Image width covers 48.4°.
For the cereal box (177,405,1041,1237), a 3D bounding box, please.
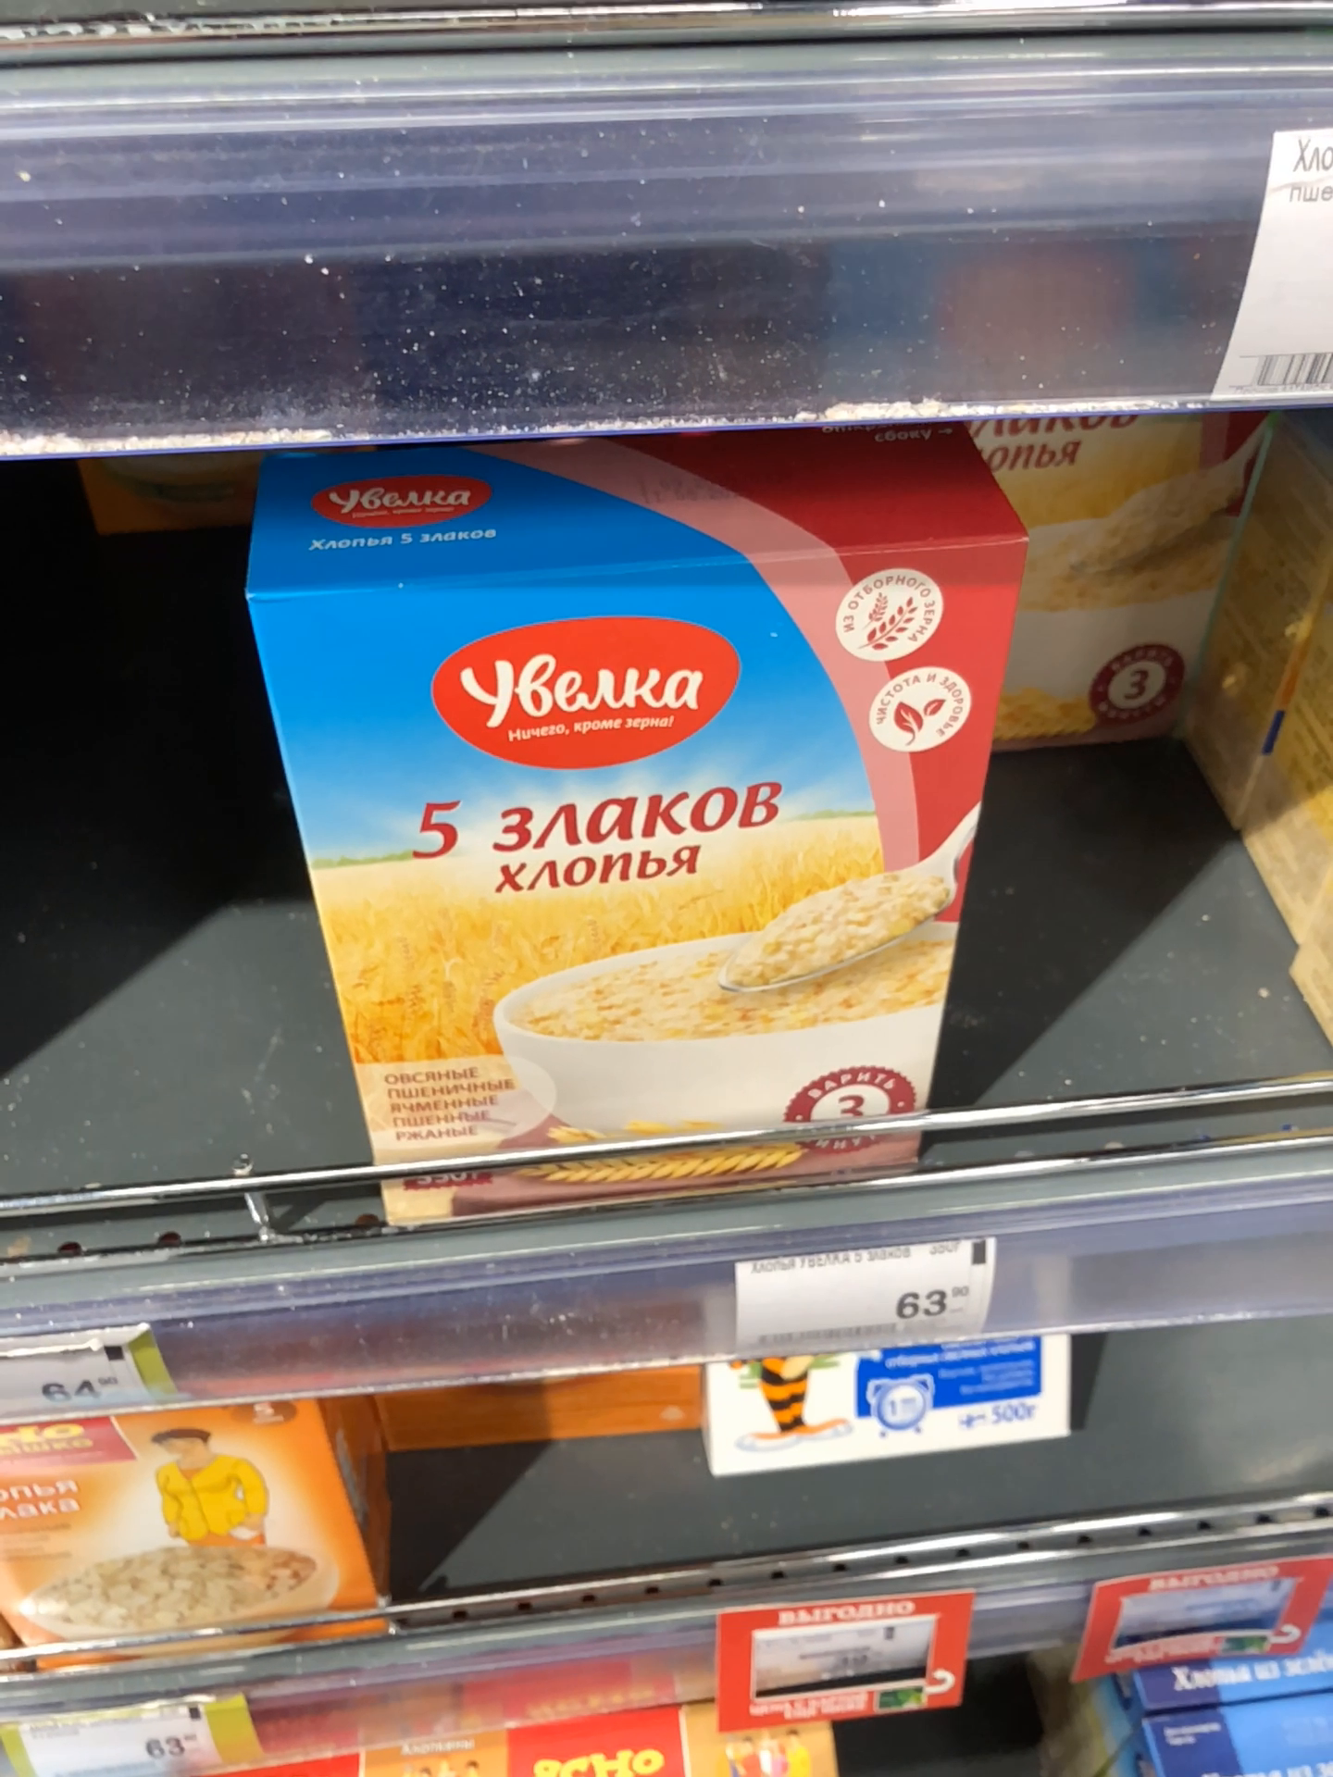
[{"bbox_3d":[-0.011,-0.005,0.338,0.150,0.189,0.050,-5,43,-6],"label":"cereal box"}]
